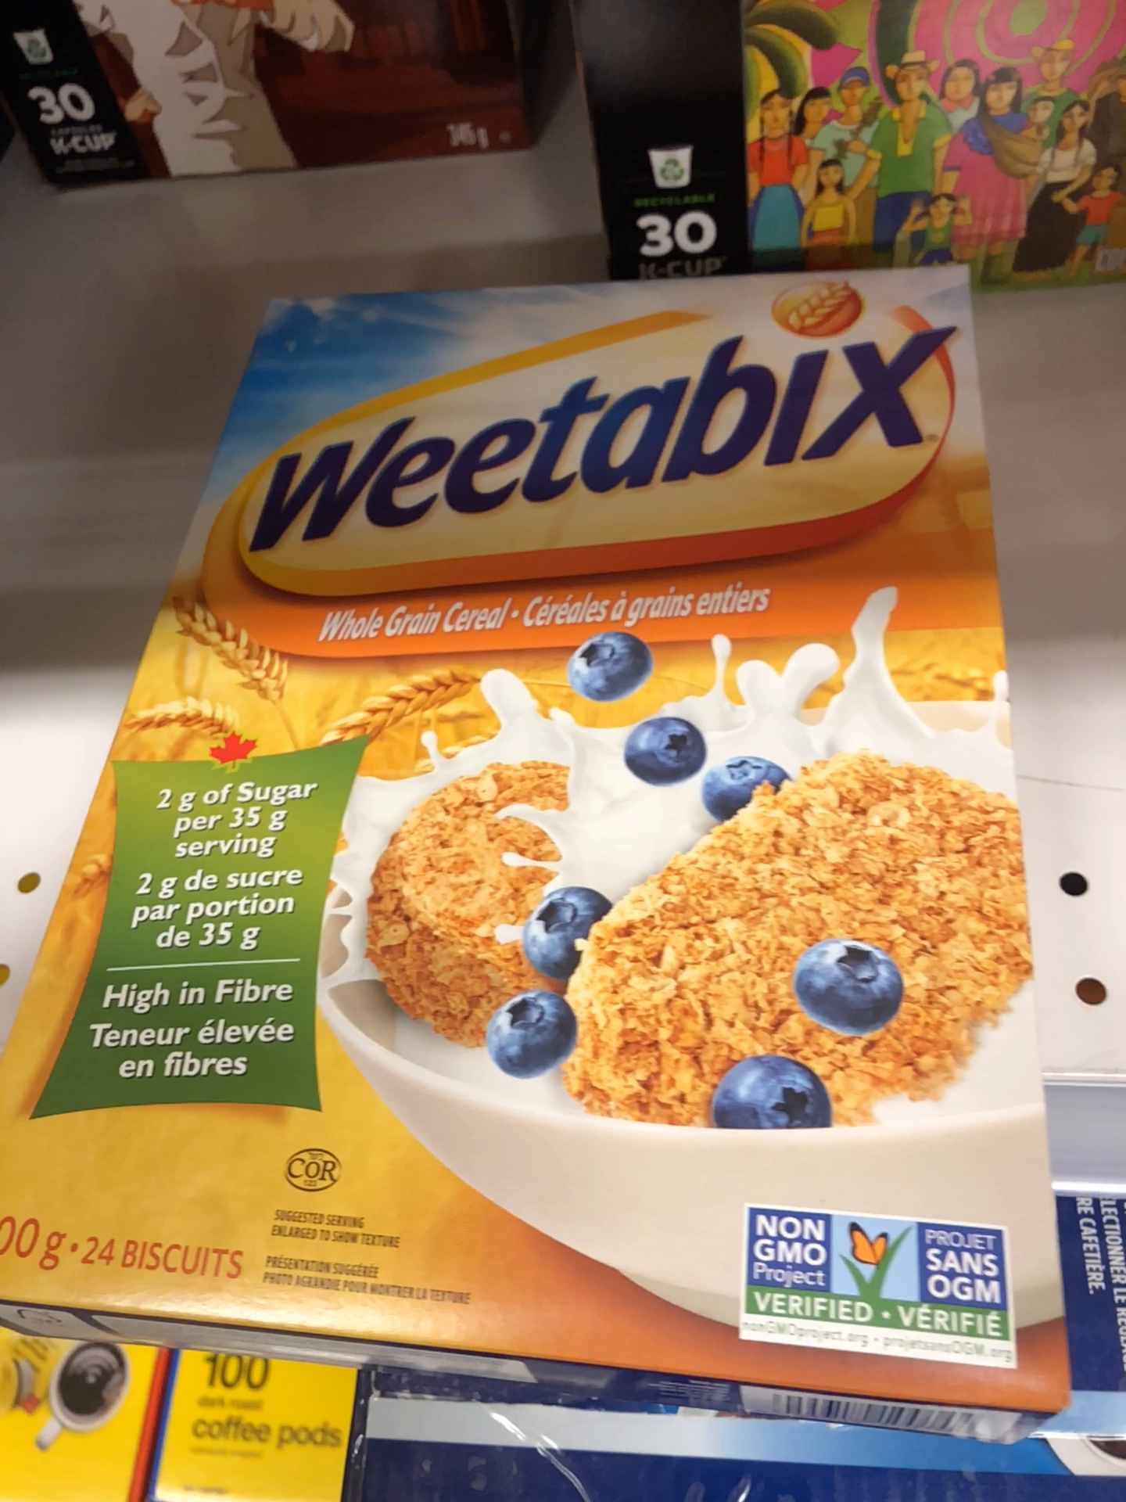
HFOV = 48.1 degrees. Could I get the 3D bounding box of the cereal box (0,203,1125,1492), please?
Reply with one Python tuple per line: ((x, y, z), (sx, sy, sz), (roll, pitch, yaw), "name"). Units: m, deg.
((-0.003, -0.012, 0.290), (0.210, 0.050, 0.290), (1, 56, 11), "cereal box")
